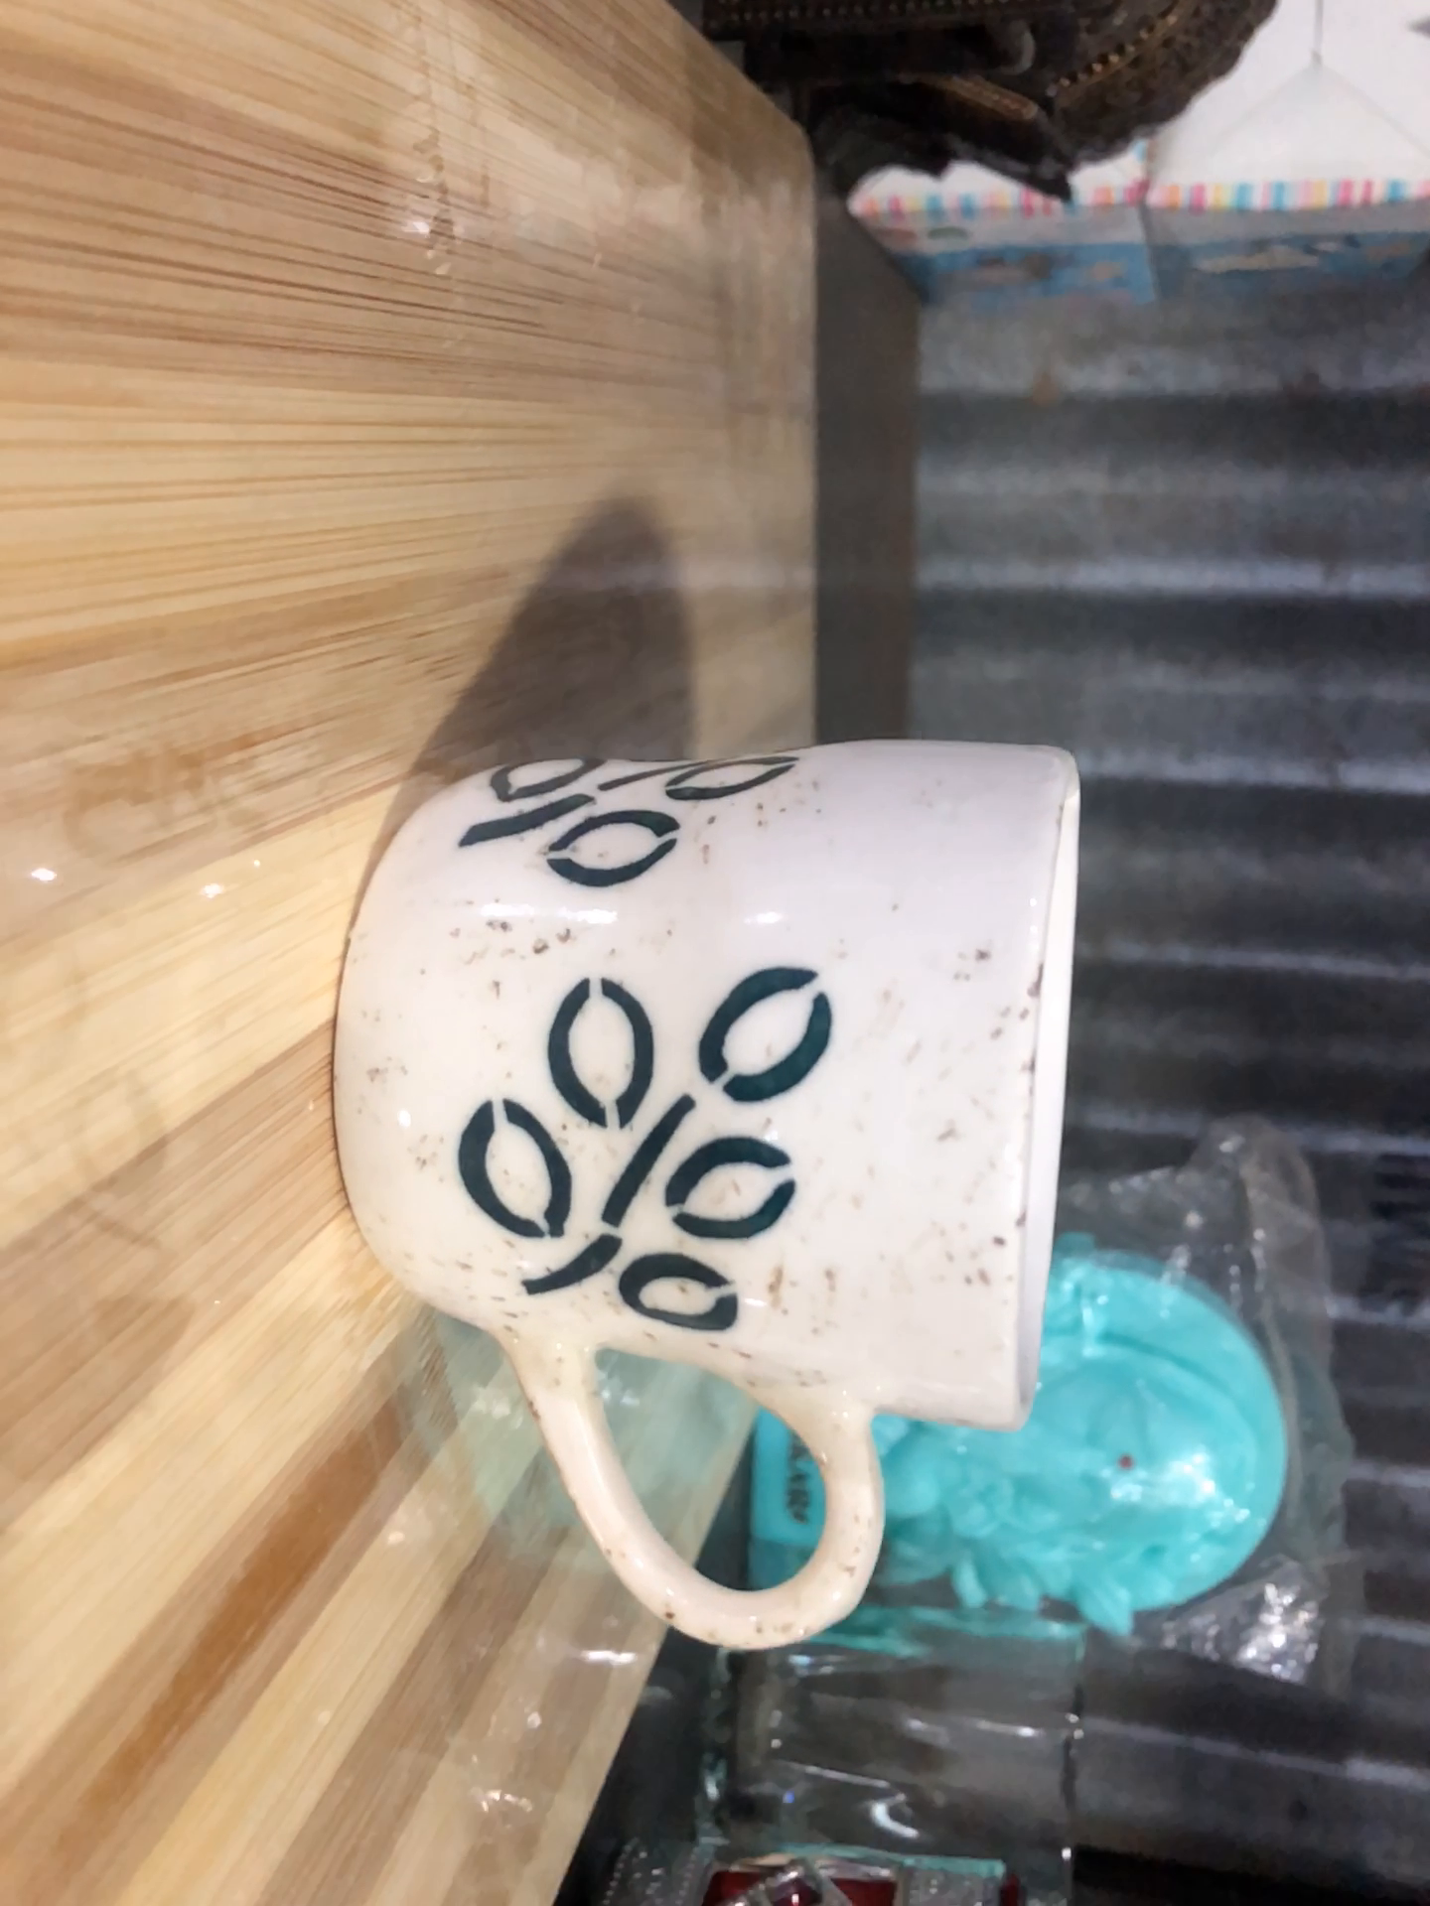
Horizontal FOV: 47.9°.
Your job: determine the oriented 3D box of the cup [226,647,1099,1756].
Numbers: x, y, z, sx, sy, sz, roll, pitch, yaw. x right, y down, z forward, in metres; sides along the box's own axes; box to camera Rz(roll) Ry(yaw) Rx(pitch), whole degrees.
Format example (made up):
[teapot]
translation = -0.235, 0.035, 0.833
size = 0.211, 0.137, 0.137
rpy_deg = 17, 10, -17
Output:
[cup]
translation = 0.004, 0.023, 0.180
size = 0.080, 0.070, 0.090
rpy_deg = 36, 58, -75
